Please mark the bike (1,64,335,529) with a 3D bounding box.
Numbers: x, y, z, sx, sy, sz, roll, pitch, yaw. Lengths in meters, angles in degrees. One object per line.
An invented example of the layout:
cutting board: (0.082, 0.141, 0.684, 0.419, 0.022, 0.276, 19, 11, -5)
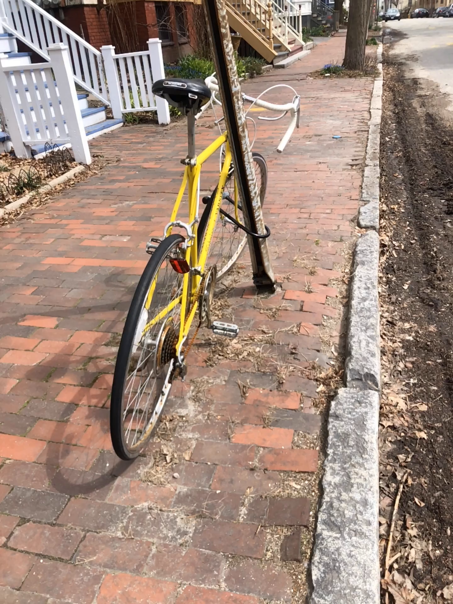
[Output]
bike: (0.041, -0.258, 1.865, 0.523, 0.855, 1.713, 4, 34, 17)
